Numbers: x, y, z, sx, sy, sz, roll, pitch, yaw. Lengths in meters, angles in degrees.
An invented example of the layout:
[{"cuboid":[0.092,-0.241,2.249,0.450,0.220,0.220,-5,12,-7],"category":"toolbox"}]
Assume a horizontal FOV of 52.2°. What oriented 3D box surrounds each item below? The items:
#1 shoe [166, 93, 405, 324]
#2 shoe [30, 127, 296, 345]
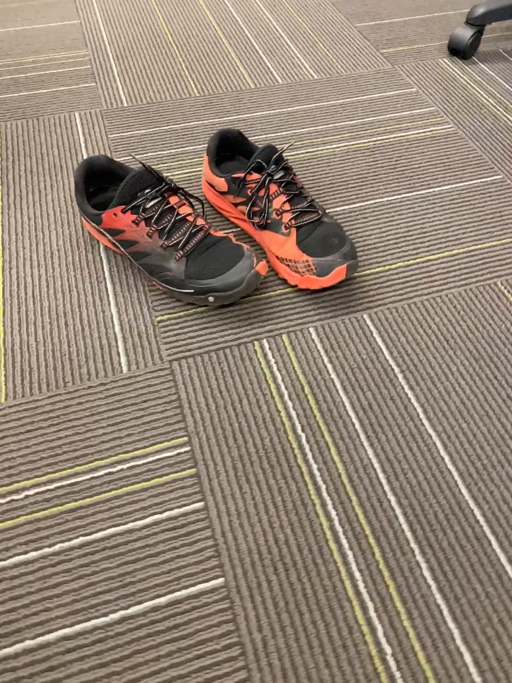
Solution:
[{"cuboid":[0.026,-0.194,0.722,0.130,0.129,0.321,-32,59,-22],"category":"shoe"},{"cuboid":[-0.119,-0.146,0.689,0.311,0.129,0.130,27,57,19],"category":"shoe"}]
